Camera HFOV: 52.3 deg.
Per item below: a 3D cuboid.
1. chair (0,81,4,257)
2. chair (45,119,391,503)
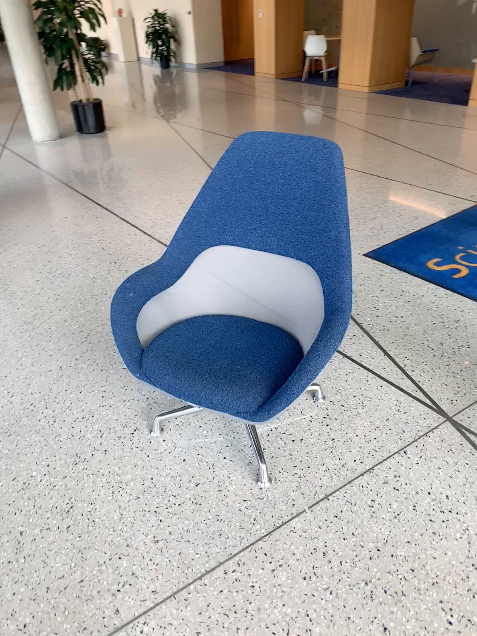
[{"bbox_3d":[-2.314,-1.107,3.463,0.776,0.913,0.899,-22,37,-28],"label":"chair"},{"bbox_3d":[0.001,-0.104,1.699,0.726,0.933,0.789,16,36,27],"label":"chair"}]
